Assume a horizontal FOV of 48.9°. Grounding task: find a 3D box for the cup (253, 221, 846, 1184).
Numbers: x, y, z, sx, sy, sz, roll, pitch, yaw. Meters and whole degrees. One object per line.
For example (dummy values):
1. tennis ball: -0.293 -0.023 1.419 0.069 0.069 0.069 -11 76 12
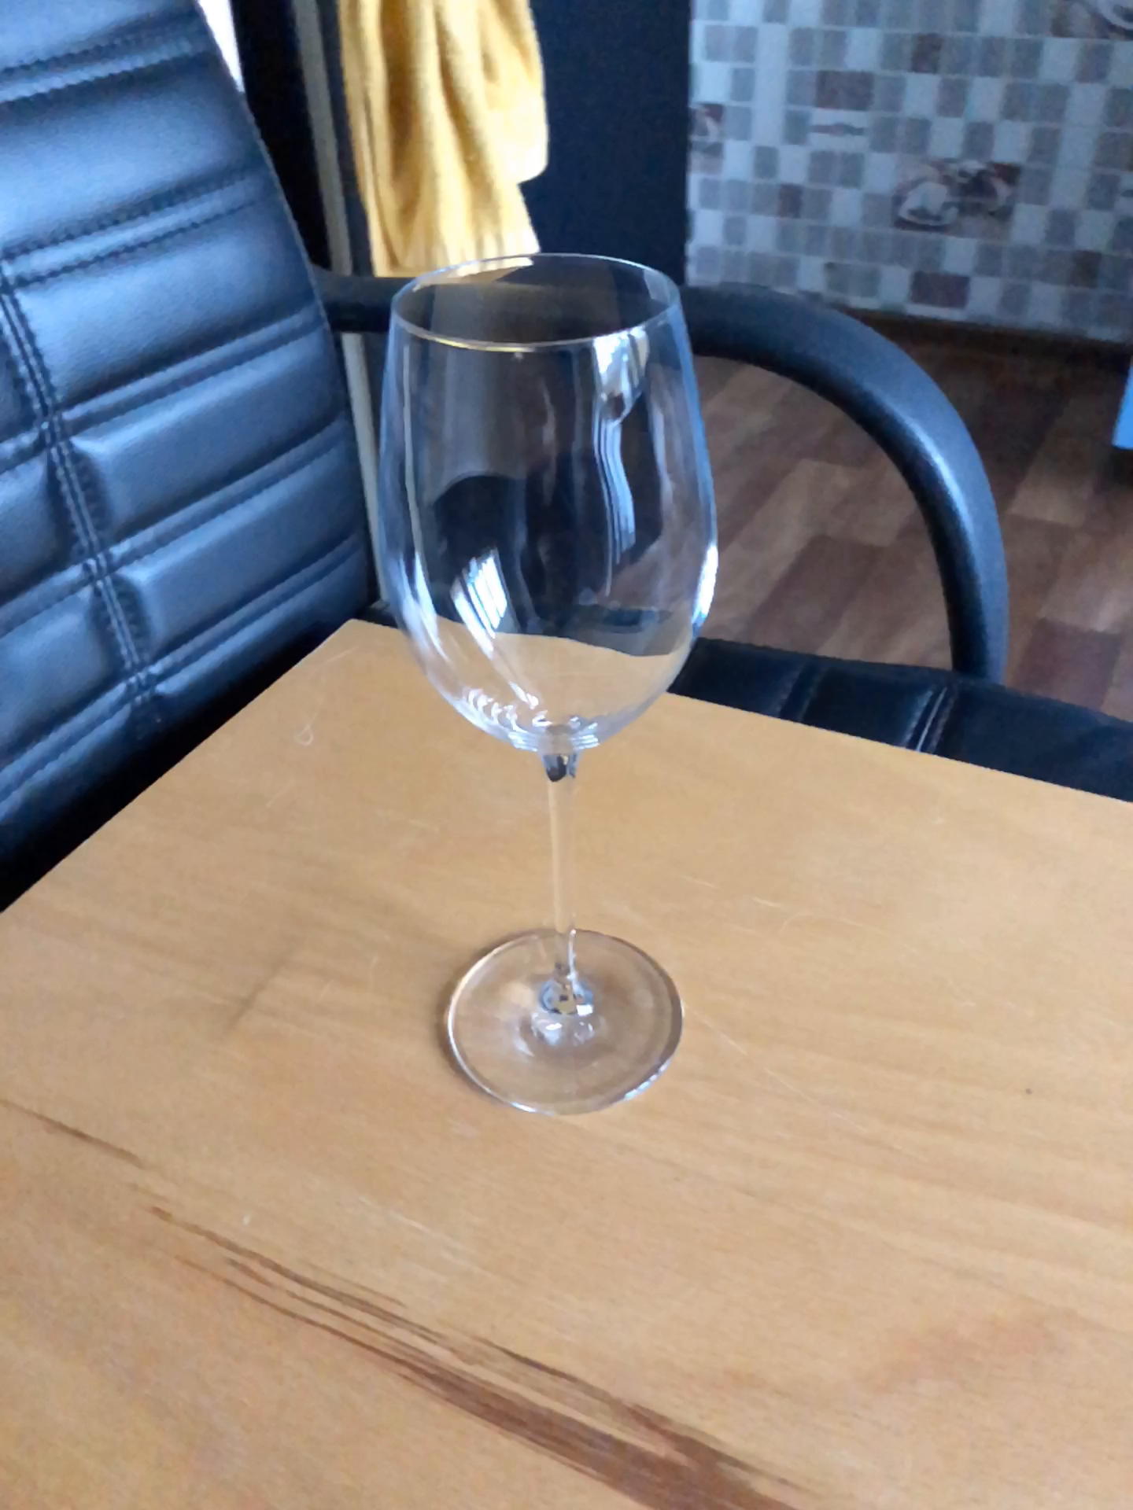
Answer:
1. cup: -0.004 -0.008 0.325 0.089 0.218 0.090 -1 37 1
